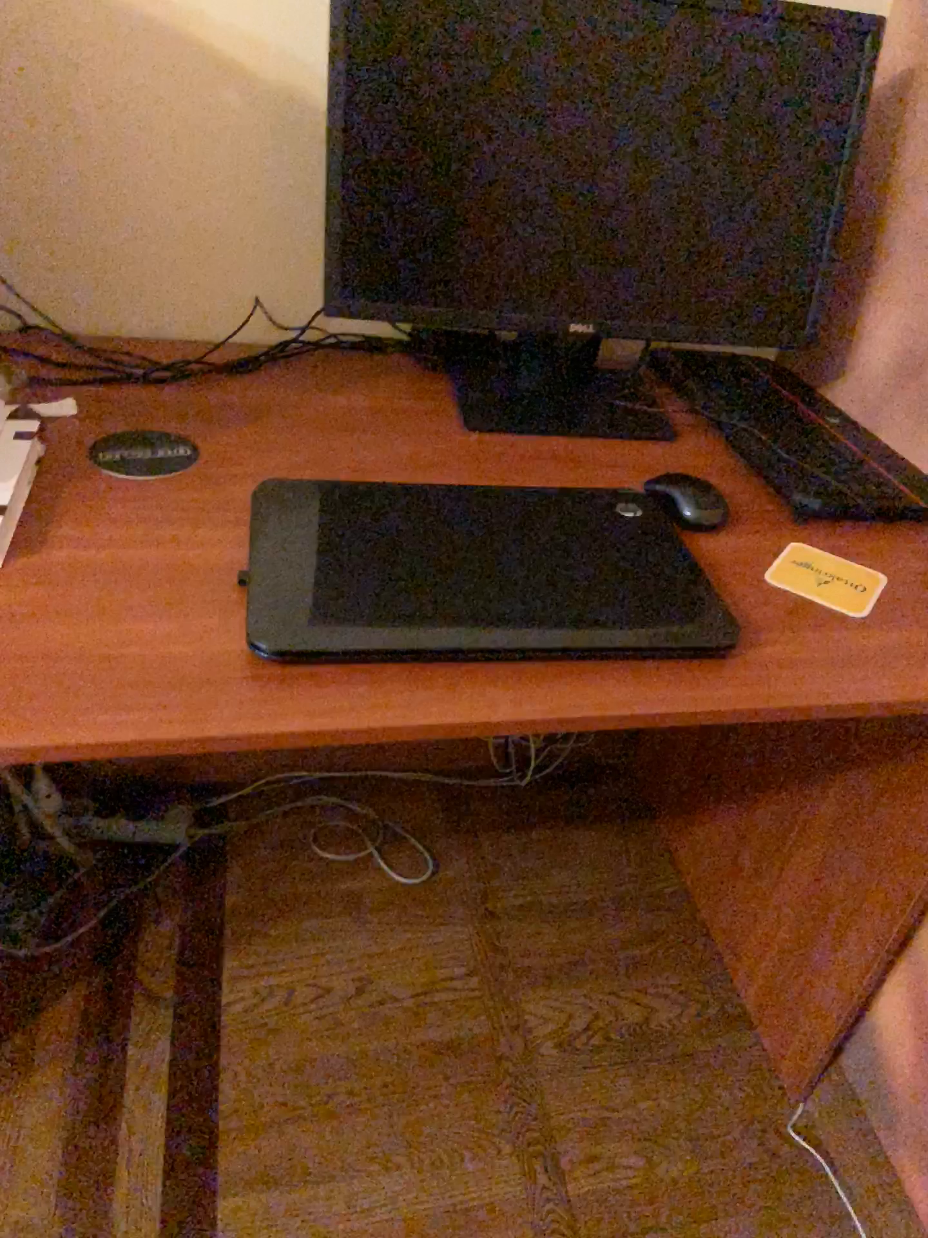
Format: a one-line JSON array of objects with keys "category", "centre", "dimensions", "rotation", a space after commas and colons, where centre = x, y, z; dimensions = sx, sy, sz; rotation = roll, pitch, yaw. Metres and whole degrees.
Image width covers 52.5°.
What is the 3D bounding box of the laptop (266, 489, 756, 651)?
[{"category": "laptop", "centre": [0.025, -0.050, 0.815], "dimensions": [0.381, 0.001, 0.244], "rotation": [-1, 36, -11]}]
